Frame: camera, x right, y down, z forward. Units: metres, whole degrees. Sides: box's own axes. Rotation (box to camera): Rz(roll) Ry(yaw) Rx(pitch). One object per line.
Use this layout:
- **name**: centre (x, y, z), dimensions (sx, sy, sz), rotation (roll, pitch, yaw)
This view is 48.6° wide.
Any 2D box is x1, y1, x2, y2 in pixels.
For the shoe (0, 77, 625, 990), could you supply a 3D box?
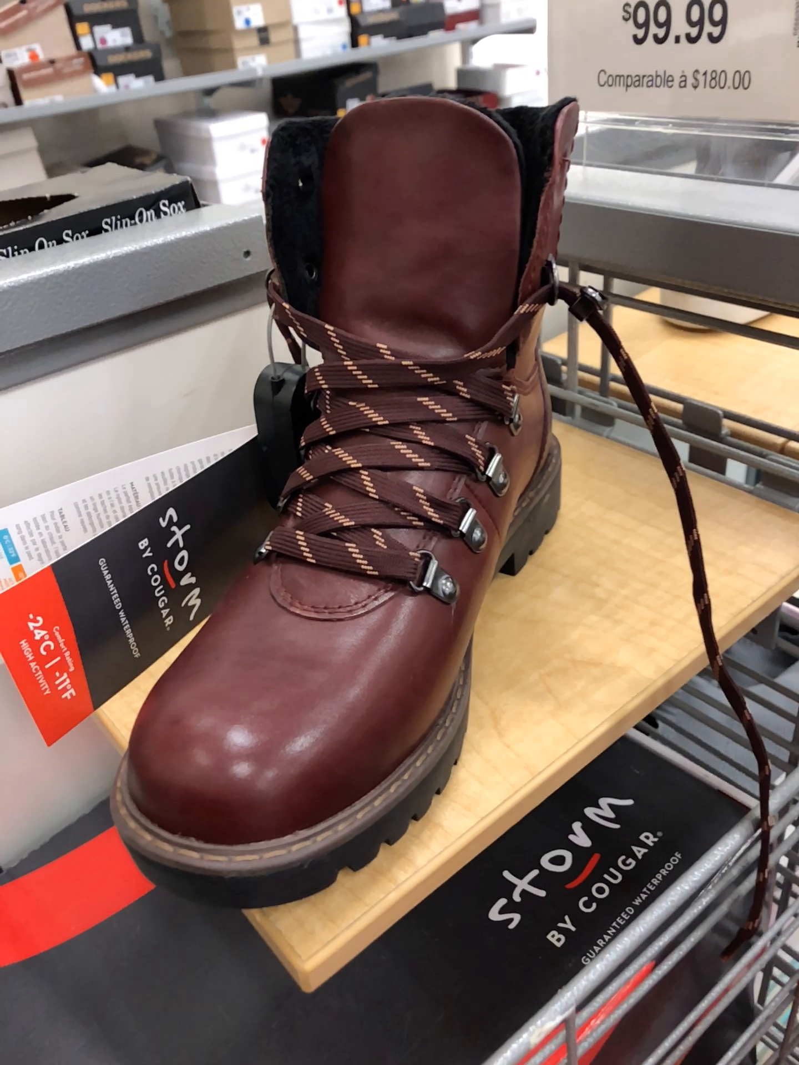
- **shoe**: centre (-0.013, -0.029, 0.277), dimensions (0.107, 0.169, 0.232), rotation (10, 36, 23)
